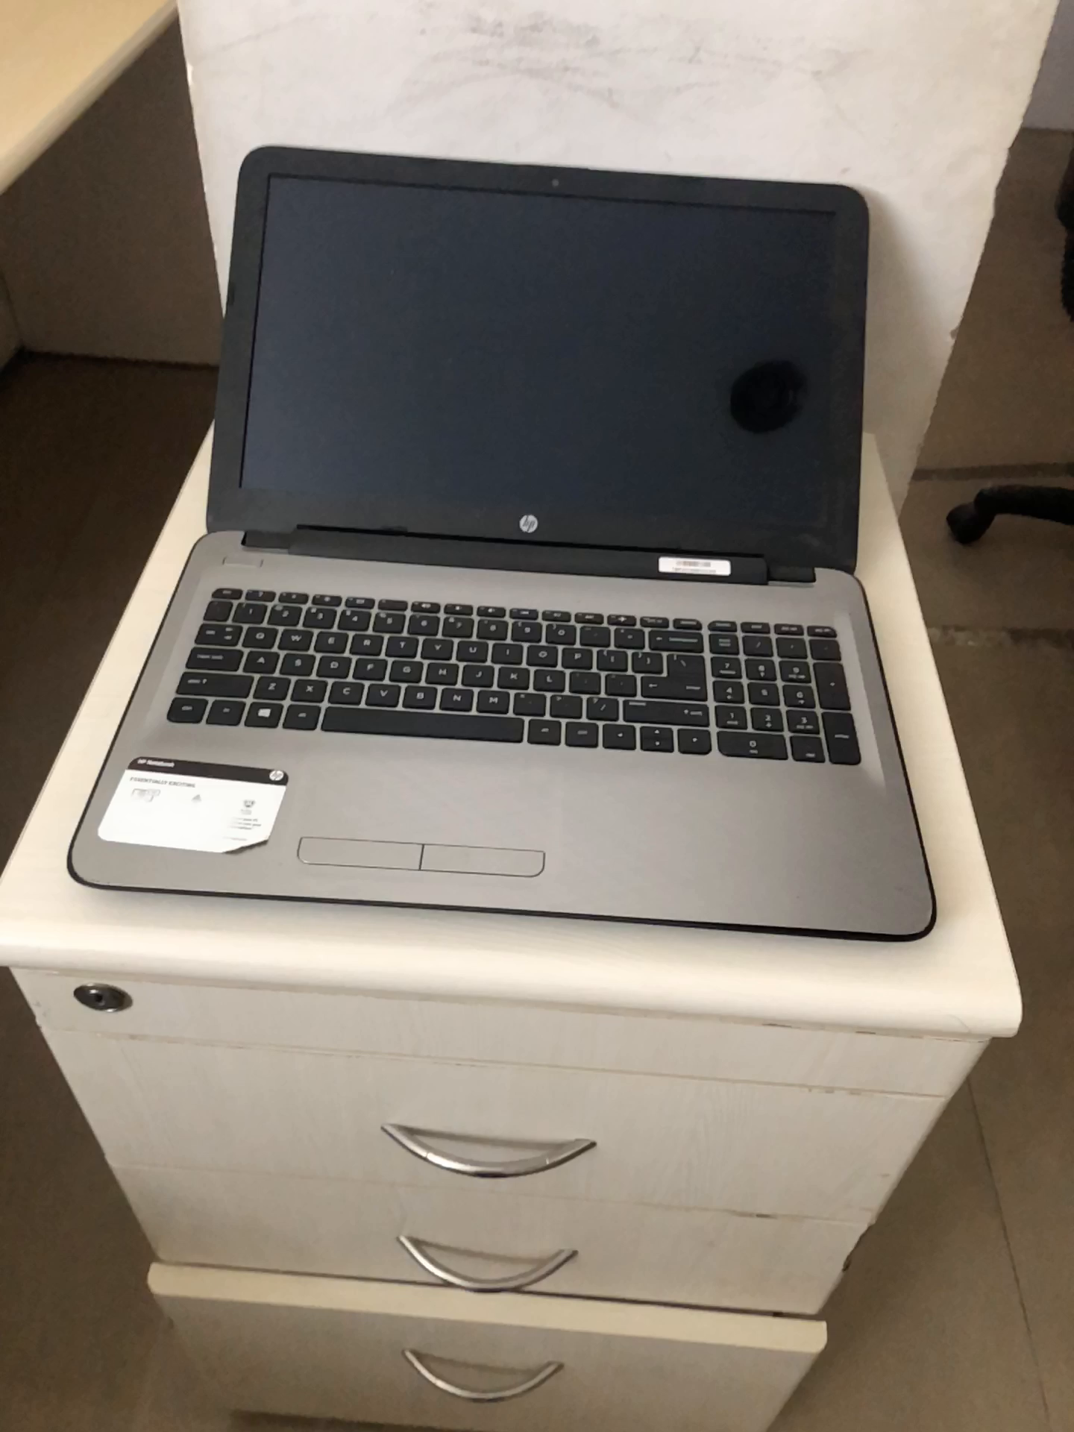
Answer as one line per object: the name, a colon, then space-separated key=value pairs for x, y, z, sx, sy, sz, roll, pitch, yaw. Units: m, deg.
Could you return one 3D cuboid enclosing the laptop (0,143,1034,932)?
laptop: x=-0.002 y=-0.124 z=0.600 sx=0.361 sy=0.136 sz=0.428 roll=4 pitch=47 yaw=0
